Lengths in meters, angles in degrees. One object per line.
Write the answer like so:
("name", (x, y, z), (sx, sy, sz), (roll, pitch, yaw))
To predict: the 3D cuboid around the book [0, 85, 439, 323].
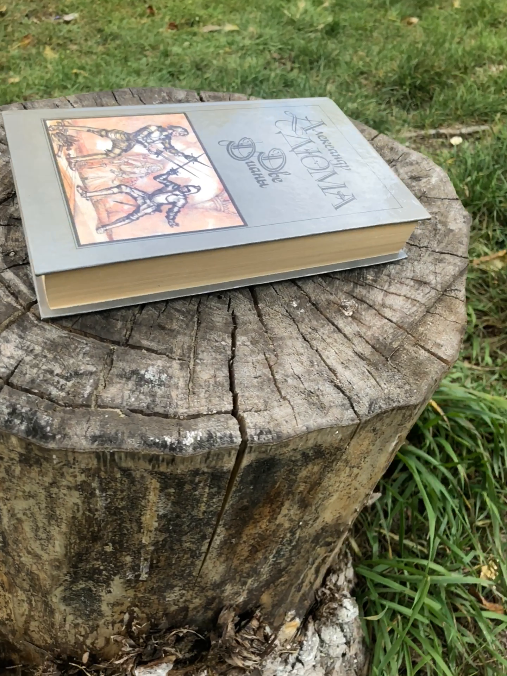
("book", (-0.024, -0.088, 0.313), (0.204, 0.030, 0.141), (-11, 53, -19))
